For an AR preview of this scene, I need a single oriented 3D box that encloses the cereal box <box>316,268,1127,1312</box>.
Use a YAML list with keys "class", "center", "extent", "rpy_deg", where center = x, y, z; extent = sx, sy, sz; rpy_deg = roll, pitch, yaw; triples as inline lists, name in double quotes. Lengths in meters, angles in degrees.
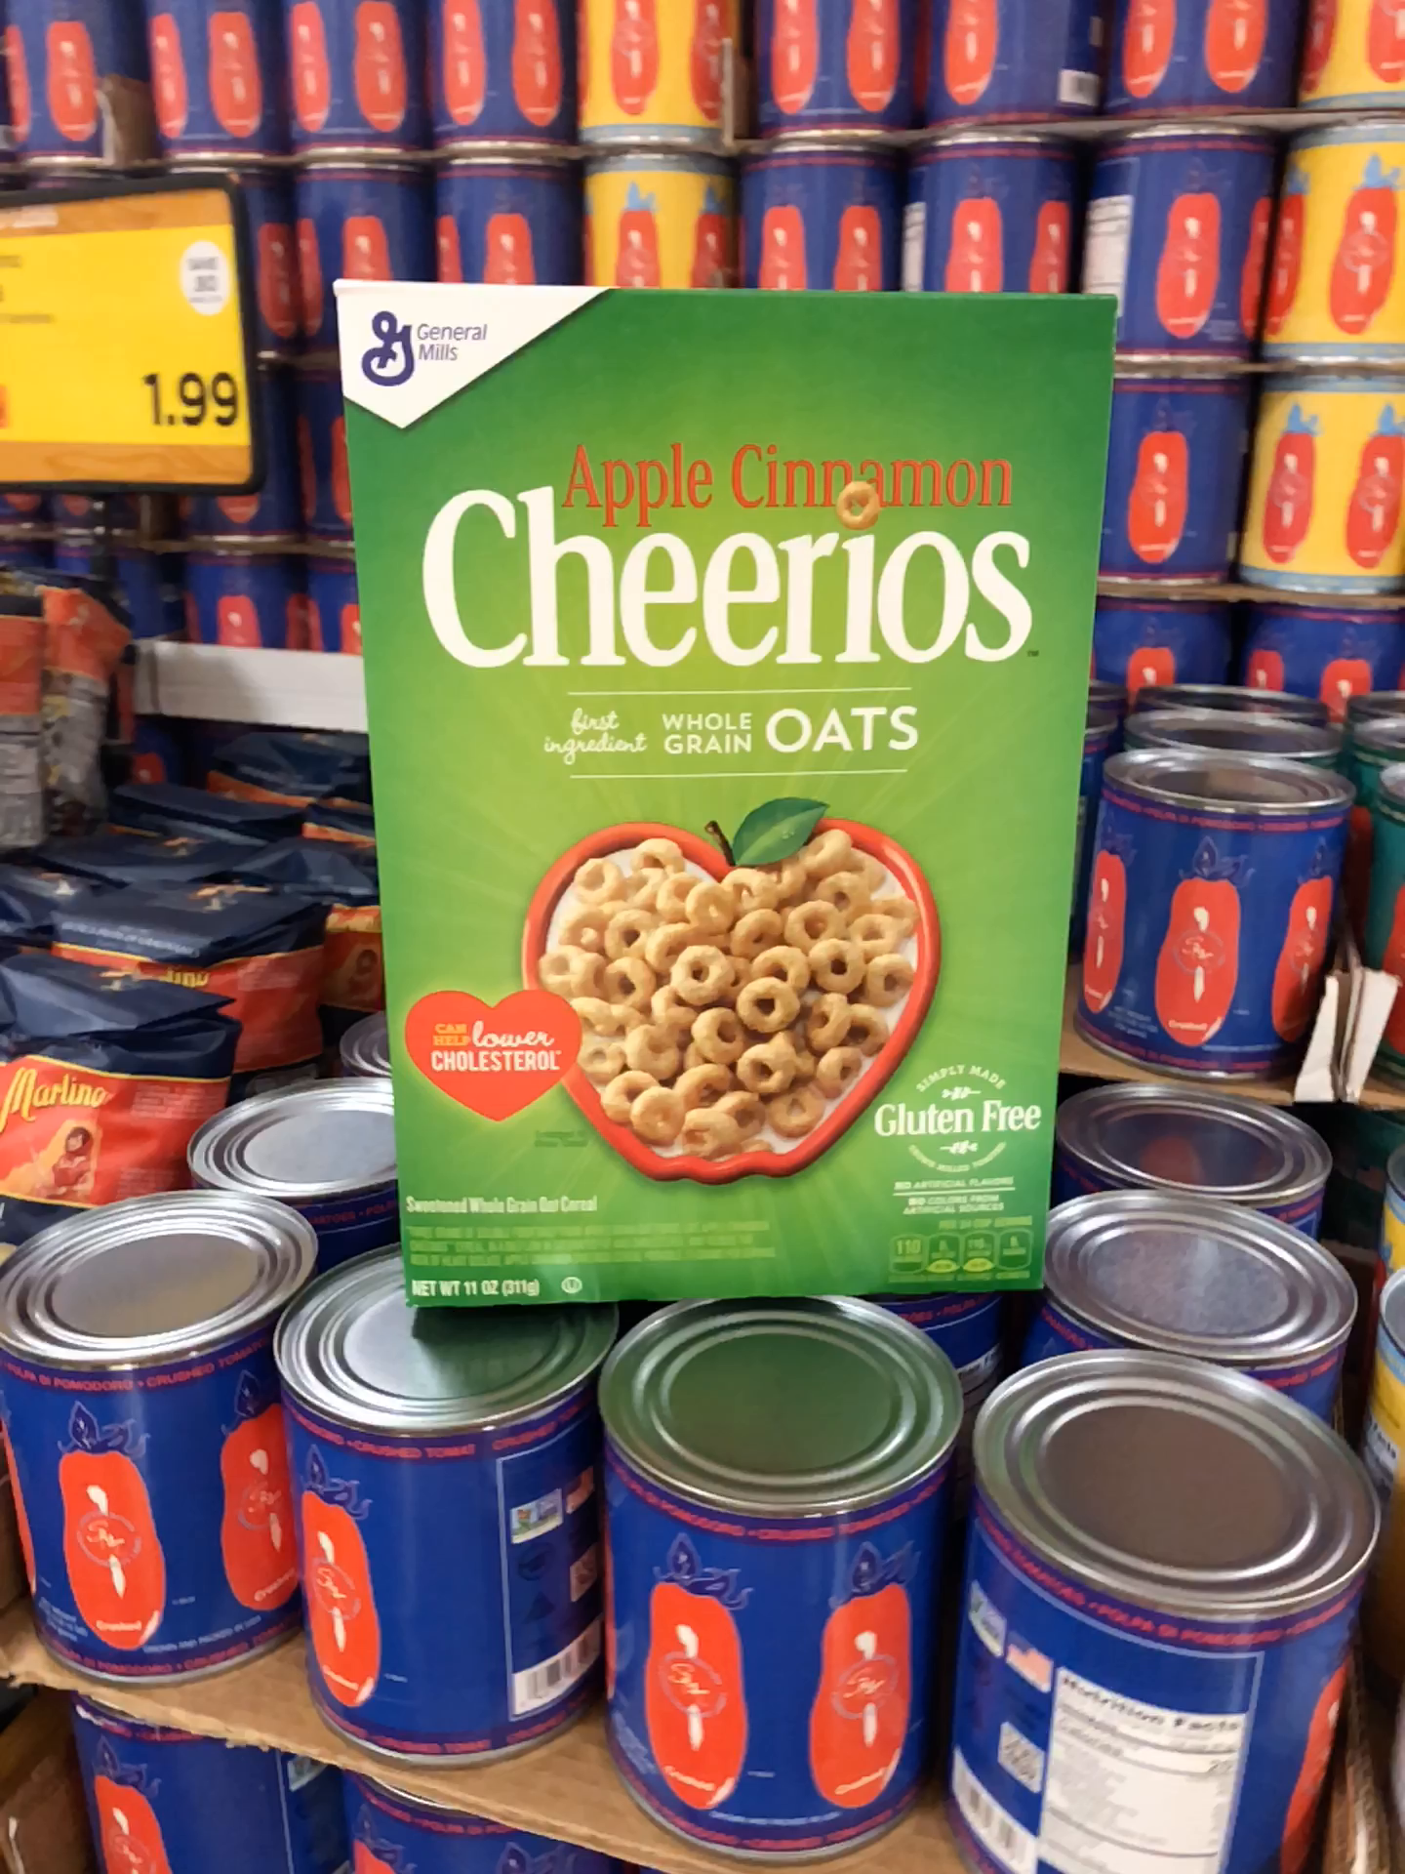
- class: "cereal box"
  center: [0.004, -0.034, 0.450]
  extent: [0.200, 0.288, 0.050]
  rpy_deg: [-1, 18, -4]
